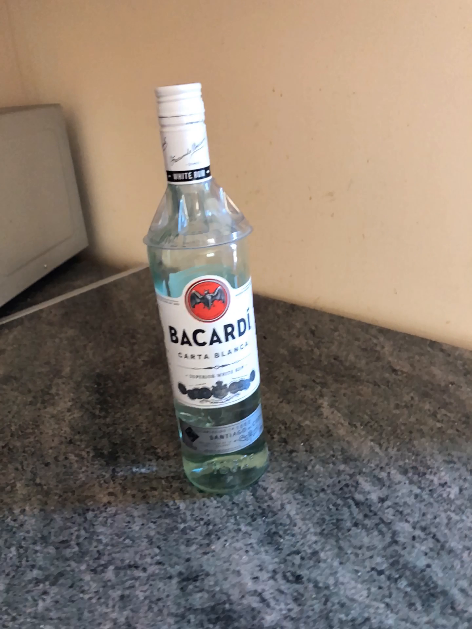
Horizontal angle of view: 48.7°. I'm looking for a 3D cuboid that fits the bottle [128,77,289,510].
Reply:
[{"bbox_3d":[-0.015,-0.009,0.386,0.080,0.299,0.080,-3,23,1],"label":"bottle"}]
